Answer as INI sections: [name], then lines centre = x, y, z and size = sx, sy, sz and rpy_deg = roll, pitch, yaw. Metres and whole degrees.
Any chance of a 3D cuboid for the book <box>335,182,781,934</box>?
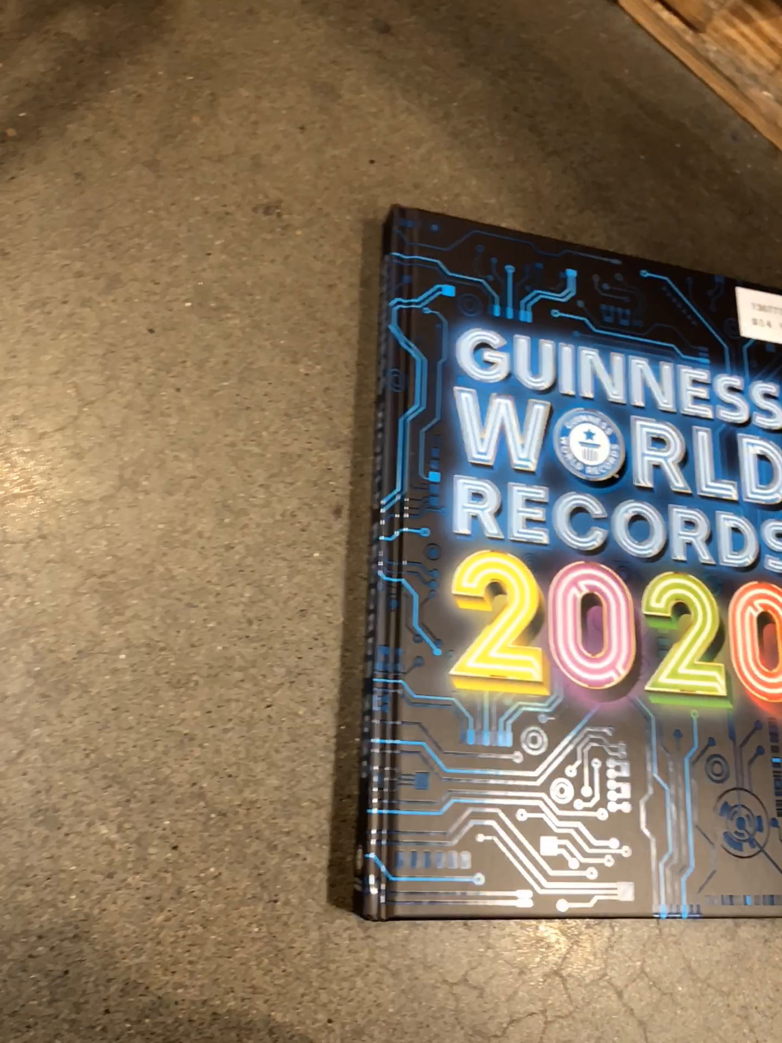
[book]
centre = 0.103, 0.012, 0.395
size = 0.240, 0.030, 0.312
rpy_deg = 7, 72, -15
